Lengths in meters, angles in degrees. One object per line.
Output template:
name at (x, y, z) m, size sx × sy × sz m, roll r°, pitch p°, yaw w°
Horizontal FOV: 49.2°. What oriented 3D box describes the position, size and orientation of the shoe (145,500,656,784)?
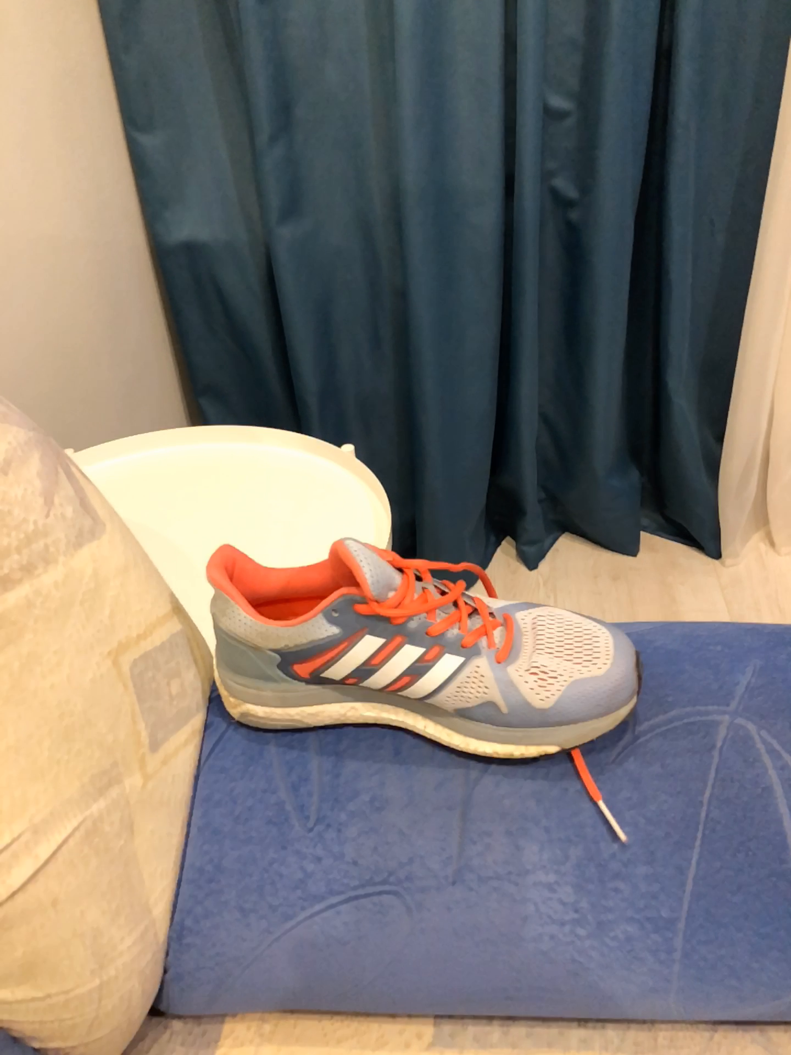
shoe at (0.009, 0.063, 0.523) m, size 0.270 × 0.109 × 0.108 m, roll 2°, pitch 34°, yaw 11°
